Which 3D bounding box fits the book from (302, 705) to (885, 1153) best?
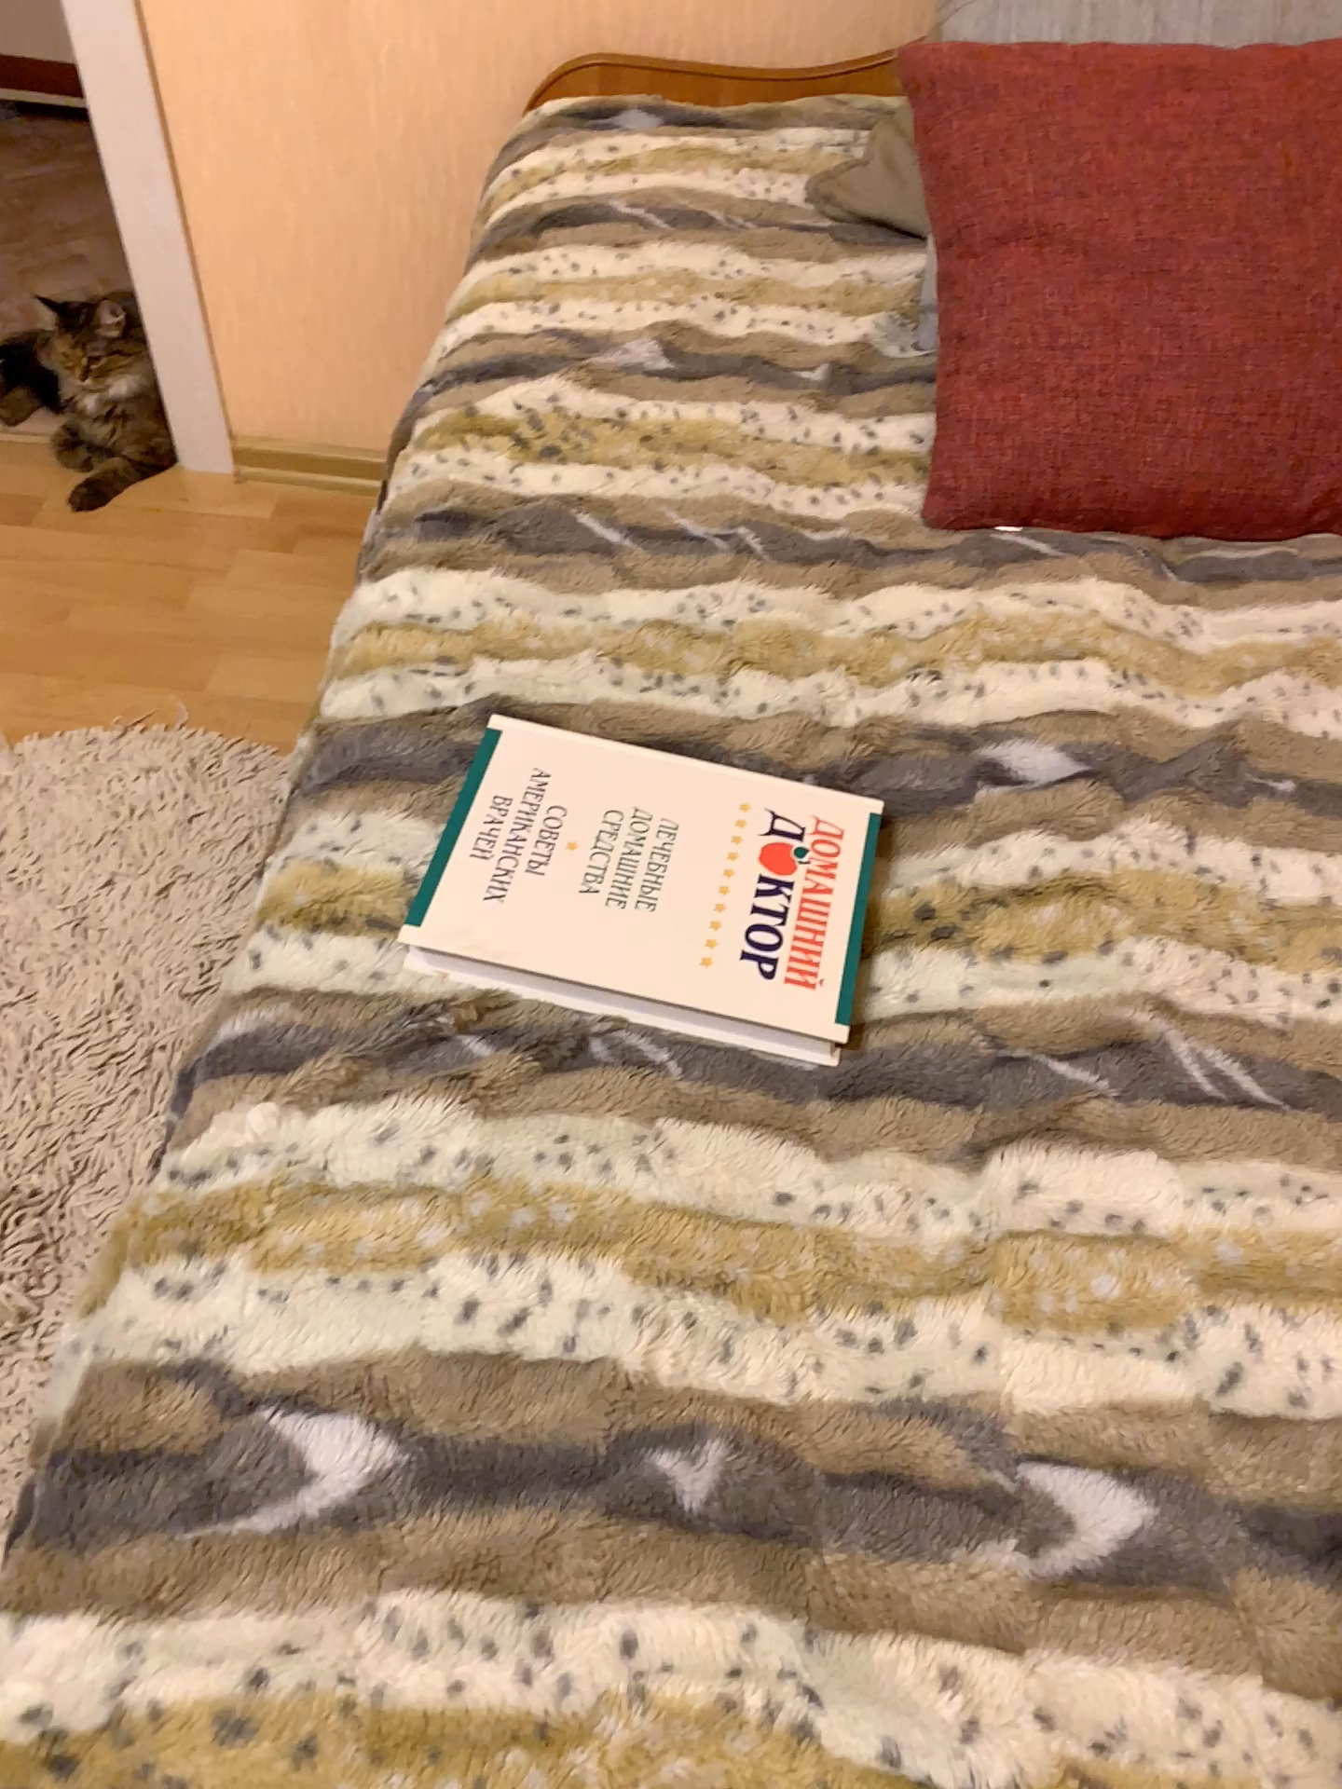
[{"bbox_3d":[-0.028,0.008,0.674,0.240,0.040,0.191,12,51,6],"label":"book"}]
